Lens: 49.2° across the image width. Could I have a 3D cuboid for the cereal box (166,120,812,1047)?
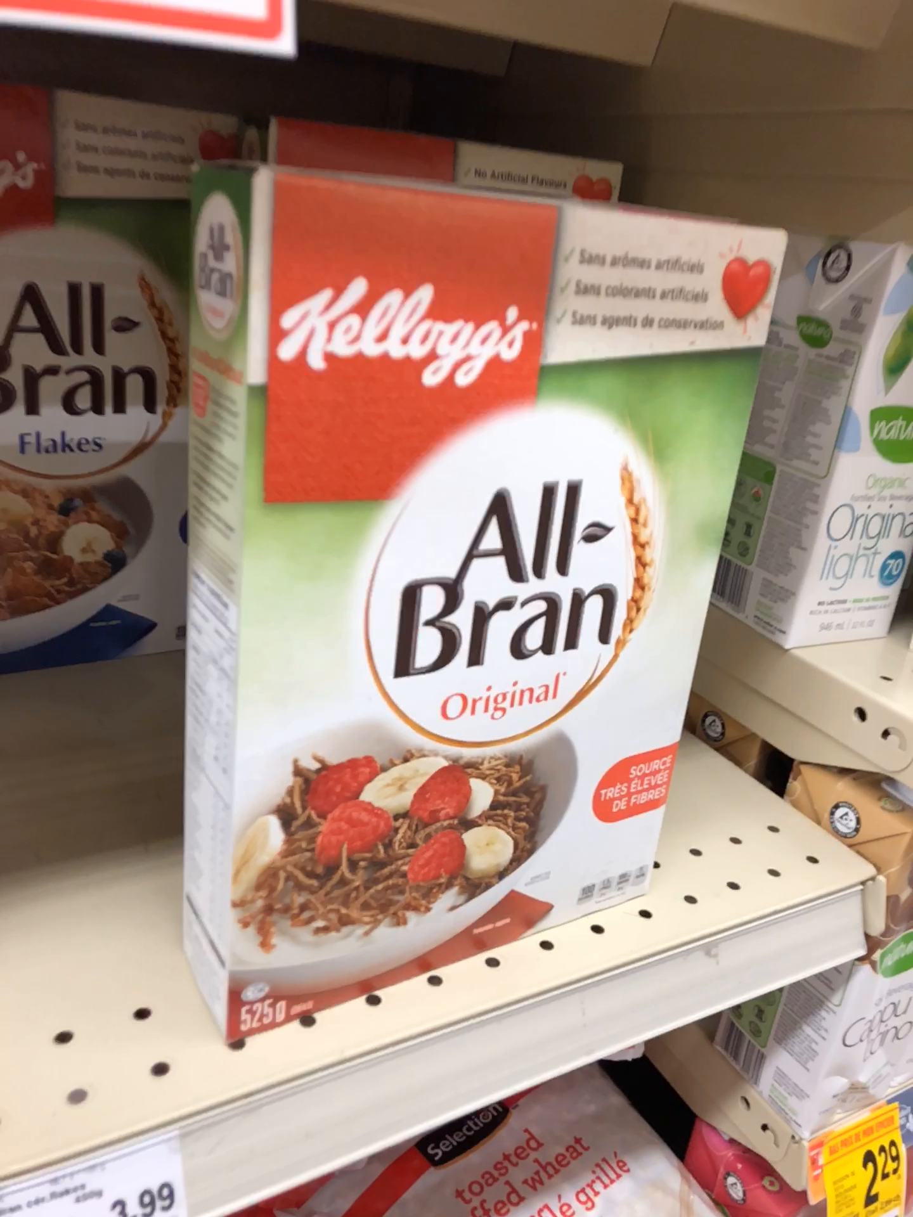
[{"bbox_3d":[0.002,-0.007,0.356,0.190,0.278,0.070,-8,27,-33],"label":"cereal box"}]
